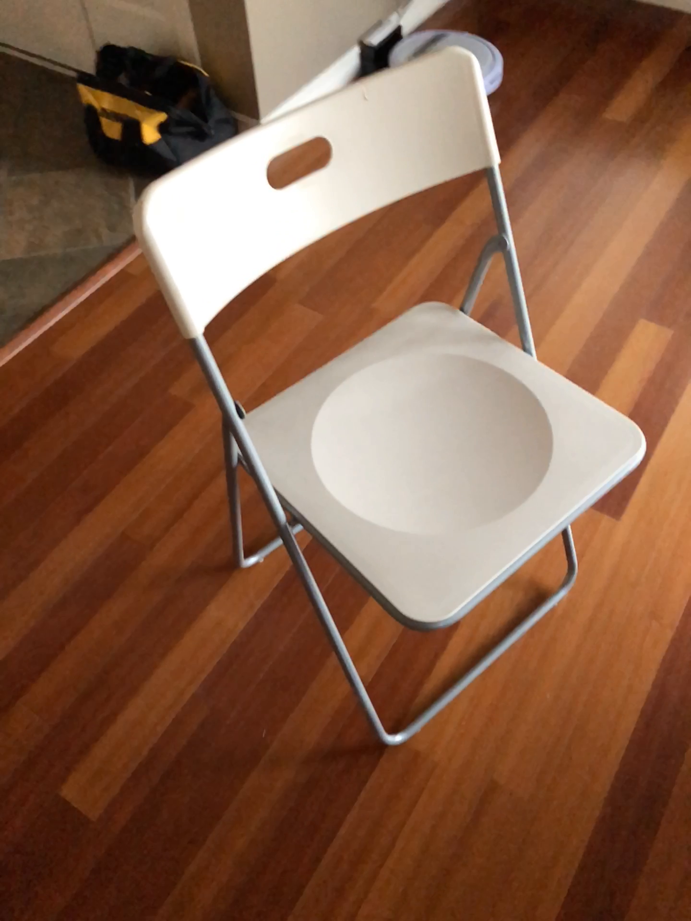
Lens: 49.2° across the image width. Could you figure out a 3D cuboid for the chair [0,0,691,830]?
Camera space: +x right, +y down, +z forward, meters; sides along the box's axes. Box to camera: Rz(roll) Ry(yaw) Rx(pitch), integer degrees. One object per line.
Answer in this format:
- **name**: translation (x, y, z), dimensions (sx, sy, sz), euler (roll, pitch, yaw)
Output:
- **chair**: translation (0.059, -0.059, 0.792), dimensions (0.461, 0.577, 0.542), euler (-35, 60, -21)
